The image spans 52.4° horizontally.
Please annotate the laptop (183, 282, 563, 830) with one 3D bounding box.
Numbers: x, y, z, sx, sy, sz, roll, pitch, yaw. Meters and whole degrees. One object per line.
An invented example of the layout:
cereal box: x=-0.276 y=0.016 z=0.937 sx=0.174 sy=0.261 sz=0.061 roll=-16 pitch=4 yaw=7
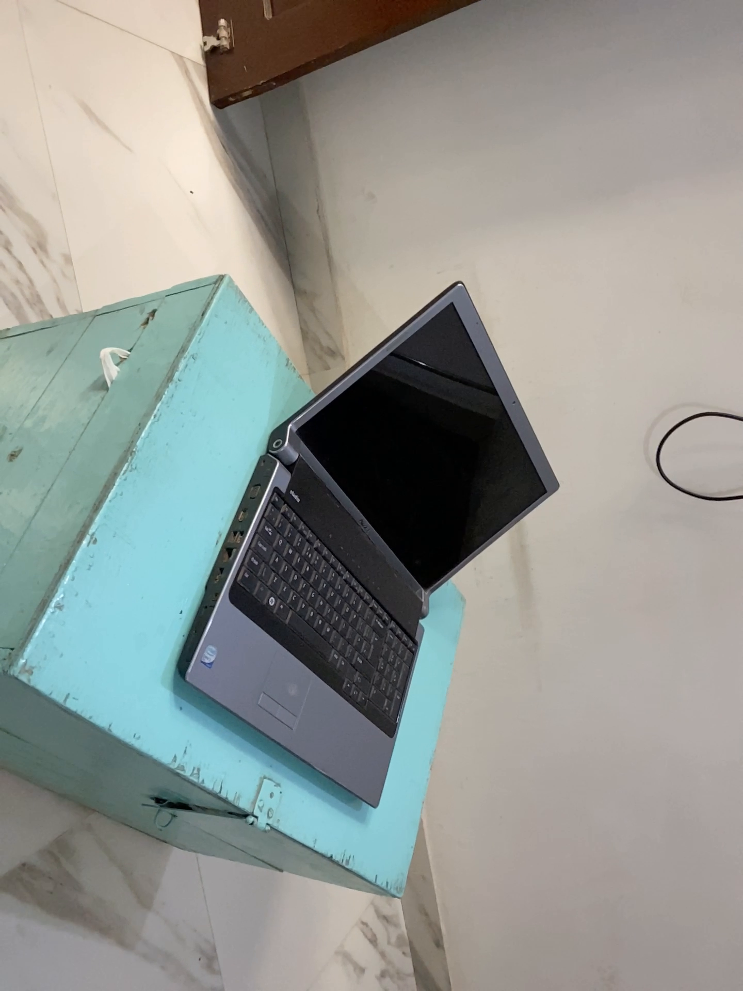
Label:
laptop: x=0.056 y=0.079 z=0.892 sx=0.391 sy=0.178 sz=0.478 roll=52 pitch=44 yaw=-43
